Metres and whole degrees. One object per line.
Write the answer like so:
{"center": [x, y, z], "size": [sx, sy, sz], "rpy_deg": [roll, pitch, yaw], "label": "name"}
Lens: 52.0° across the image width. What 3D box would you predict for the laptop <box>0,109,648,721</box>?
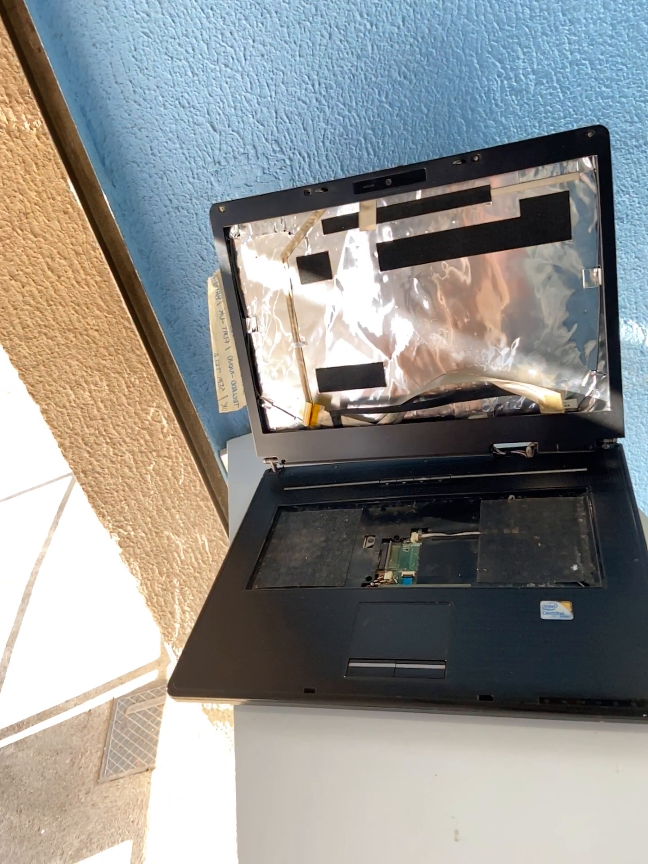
{"center": [0.051, -0.029, 0.516], "size": [0.352, 0.261, 0.351], "rpy_deg": [-5, 33, 20], "label": "laptop"}
